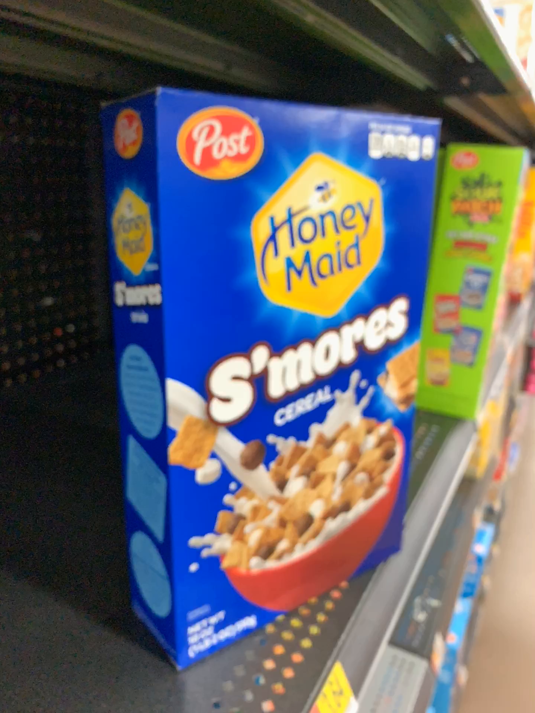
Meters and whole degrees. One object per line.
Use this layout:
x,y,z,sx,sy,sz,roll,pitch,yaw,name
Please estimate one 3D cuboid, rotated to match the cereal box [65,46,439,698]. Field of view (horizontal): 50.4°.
0.000,0.008,0.351,0.200,0.319,0.070,-11,20,-36,cereal box
